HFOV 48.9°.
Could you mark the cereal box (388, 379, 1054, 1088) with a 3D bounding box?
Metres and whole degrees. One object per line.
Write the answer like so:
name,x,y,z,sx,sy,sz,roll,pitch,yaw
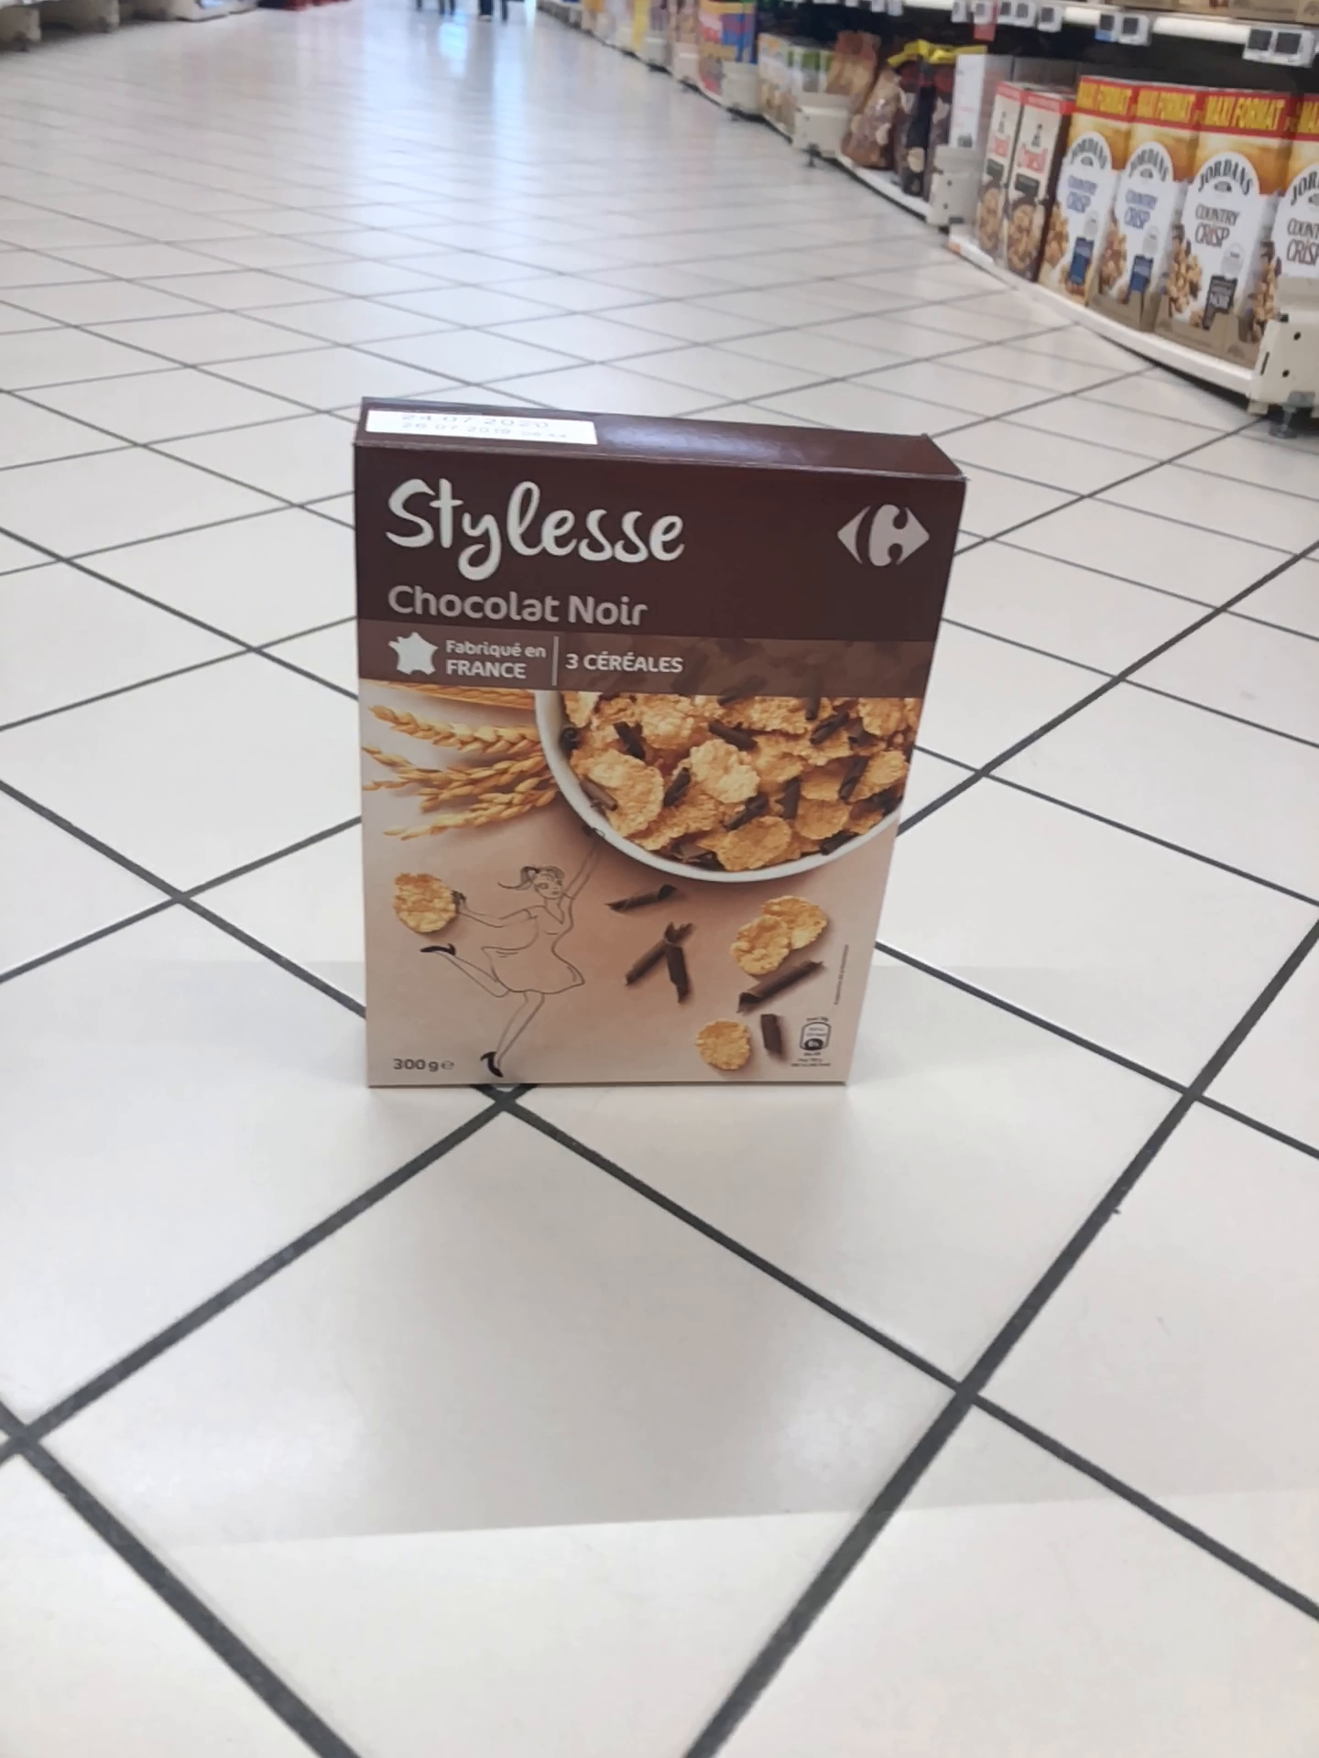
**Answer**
cereal box,0.007,-0.041,0.520,0.200,0.238,0.070,1,31,-8
